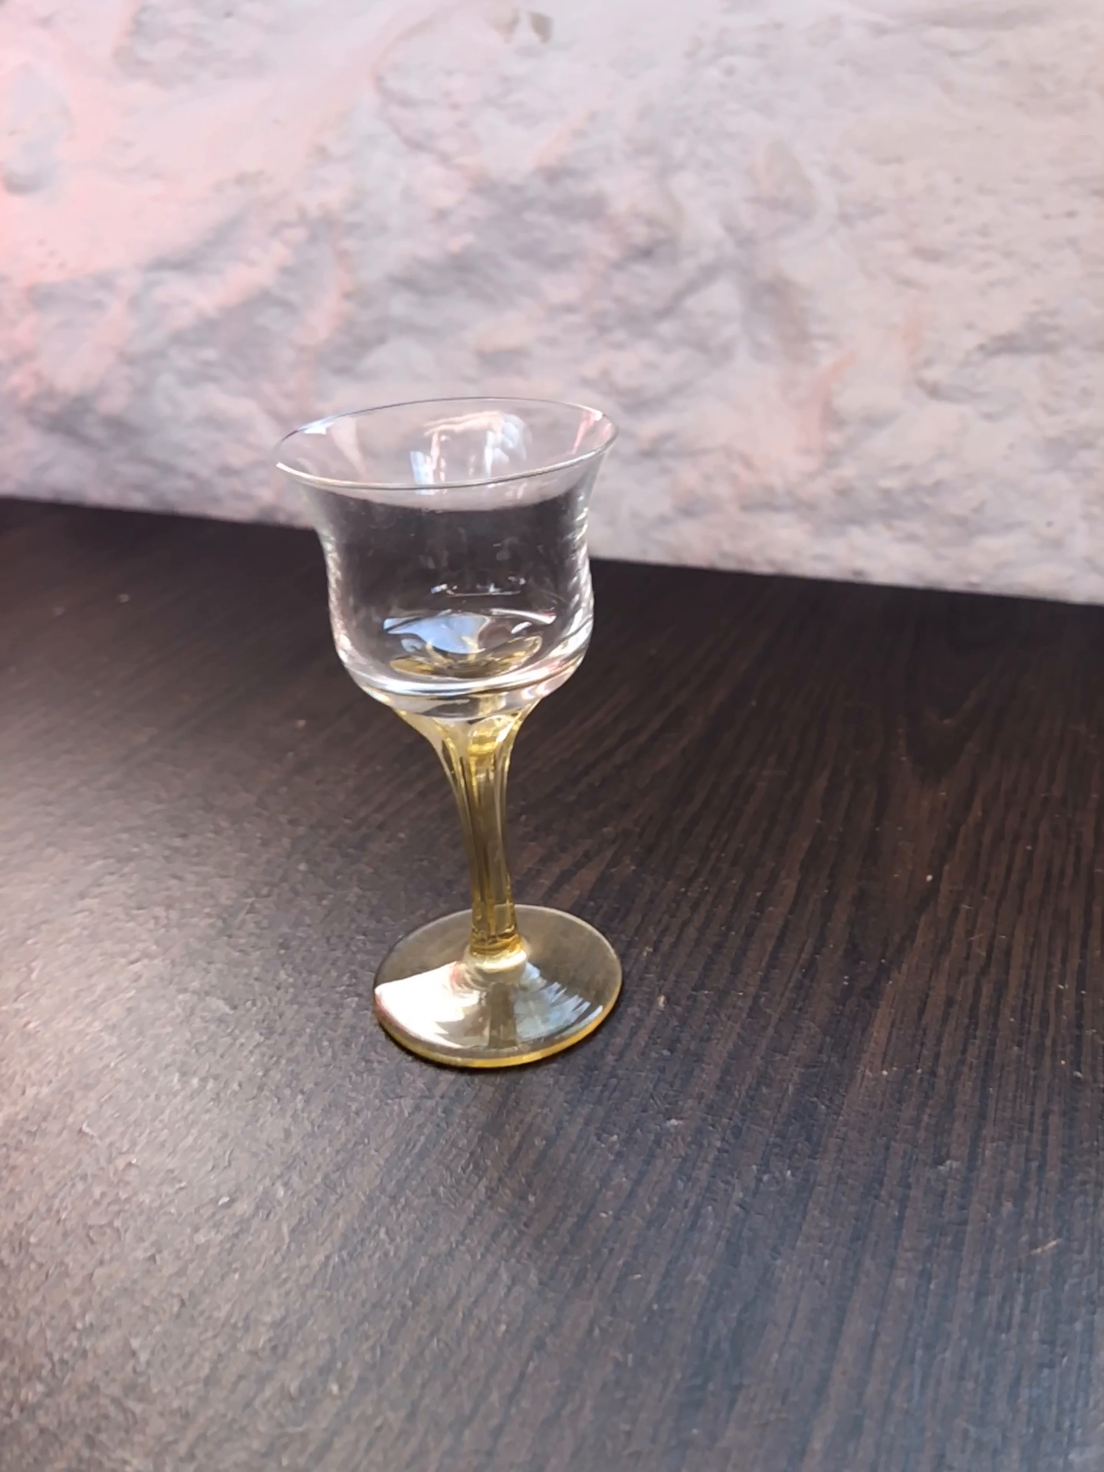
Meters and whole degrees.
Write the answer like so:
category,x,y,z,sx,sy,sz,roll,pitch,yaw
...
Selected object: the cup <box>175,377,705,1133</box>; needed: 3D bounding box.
category,x,y,z,sx,sy,sz,roll,pitch,yaw
cup,-0.010,-0.001,0.189,0.051,0.093,0.059,8,27,22
